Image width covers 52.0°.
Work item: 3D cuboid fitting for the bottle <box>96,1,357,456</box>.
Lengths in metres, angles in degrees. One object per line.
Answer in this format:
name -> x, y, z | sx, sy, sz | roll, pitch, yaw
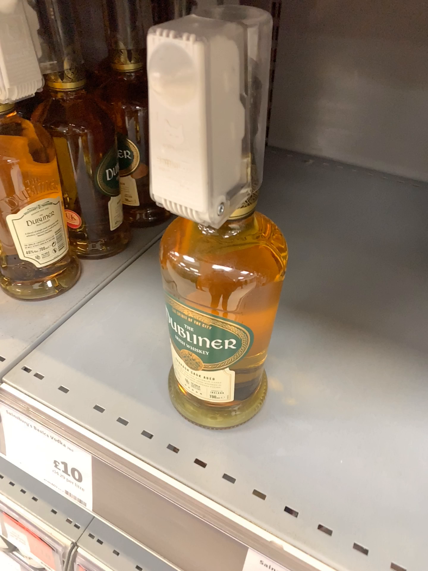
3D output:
bottle -> 0.005, -0.017, 0.300 | 0.089, 0.283, 0.091 | 1, 40, -1
